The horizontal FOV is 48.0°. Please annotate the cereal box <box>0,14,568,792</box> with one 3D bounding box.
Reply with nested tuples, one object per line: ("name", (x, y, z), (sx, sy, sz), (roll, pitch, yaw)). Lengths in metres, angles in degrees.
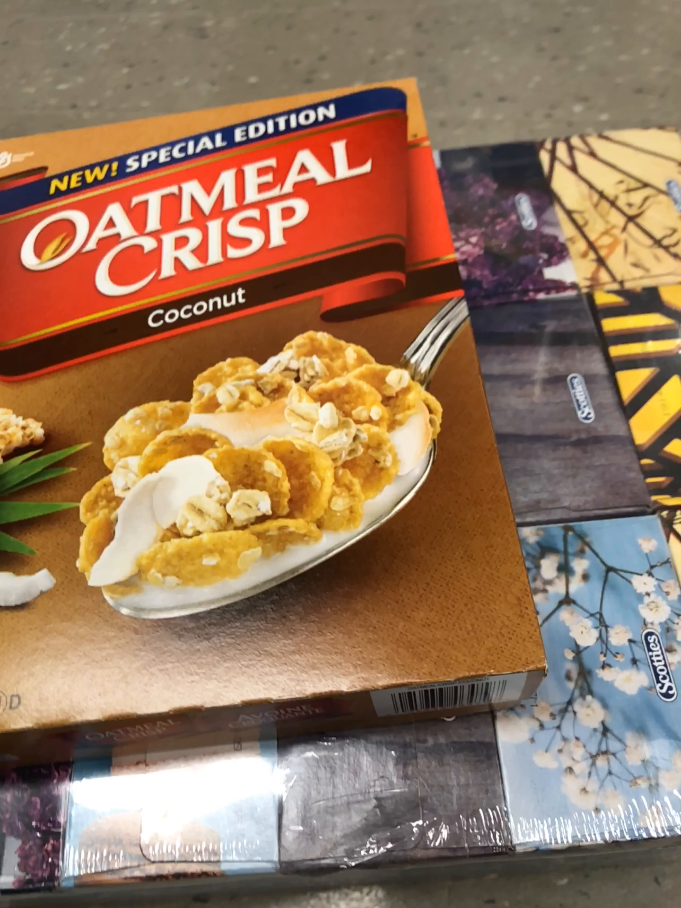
("cereal box", (-0.058, -0.044, 0.293), (0.210, 0.060, 0.290), (-9, 55, 5))
